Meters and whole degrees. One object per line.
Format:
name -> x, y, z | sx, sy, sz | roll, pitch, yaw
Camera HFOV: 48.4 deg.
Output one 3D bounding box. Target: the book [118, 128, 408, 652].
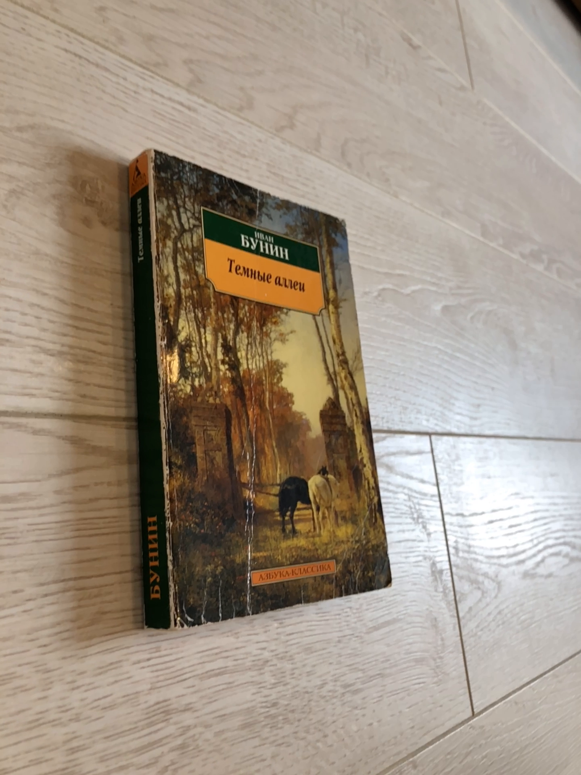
book -> -0.009, 0.000, 0.259 | 0.113, 0.024, 0.177 | 7, 72, -44
